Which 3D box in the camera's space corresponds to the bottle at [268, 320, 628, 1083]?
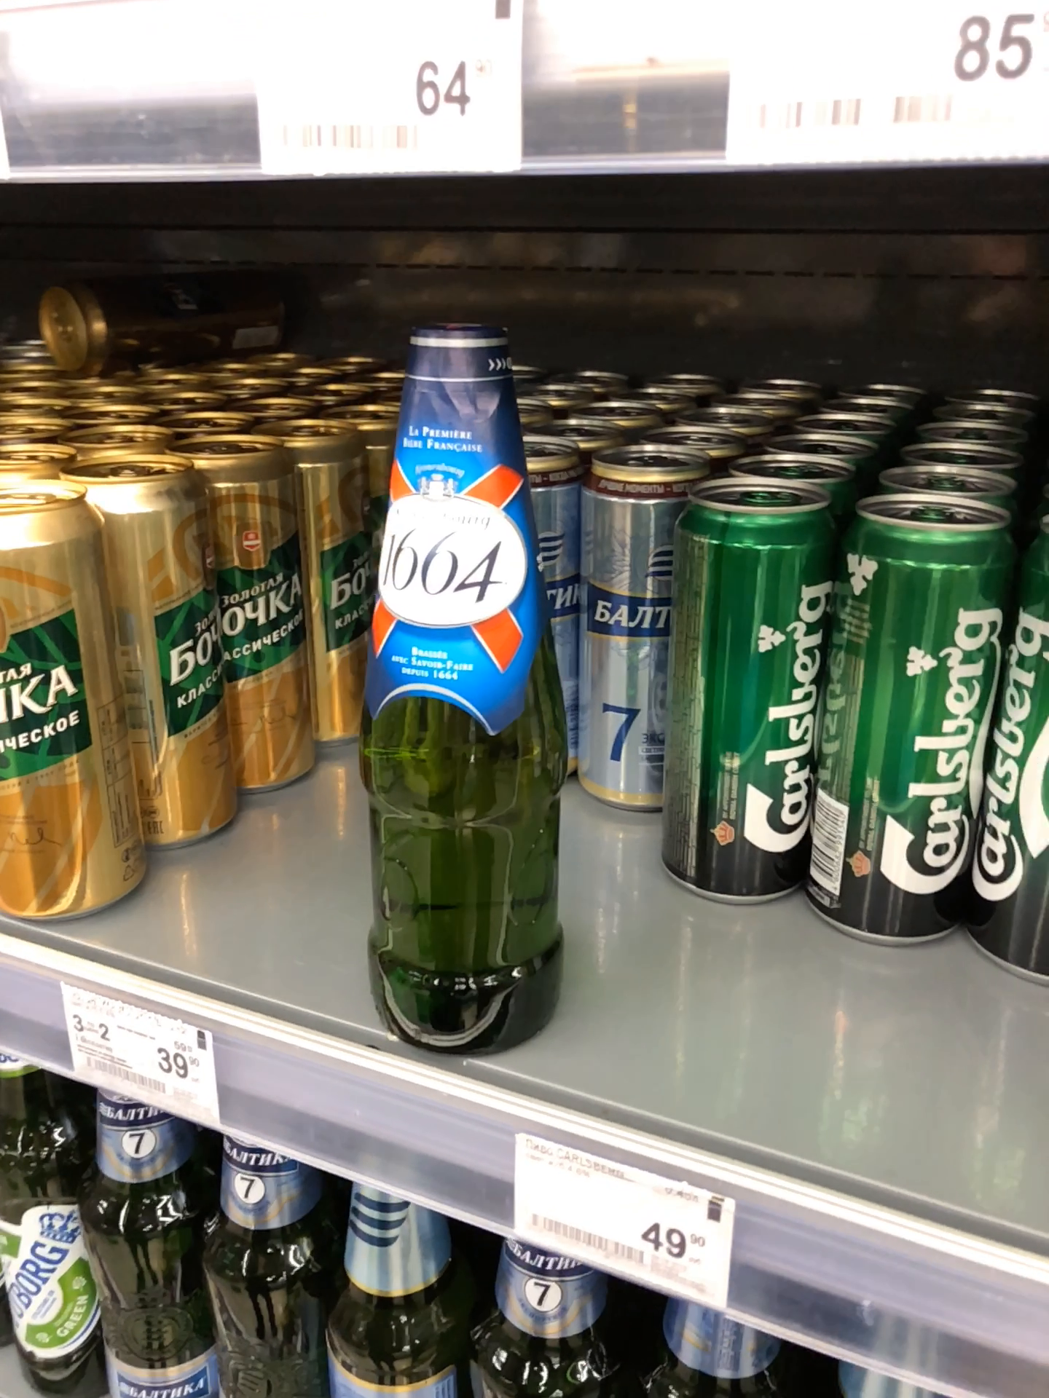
[{"bbox_3d":[-0.020,-0.001,0.381,0.080,0.229,0.080,0,21,0],"label":"bottle"}]
